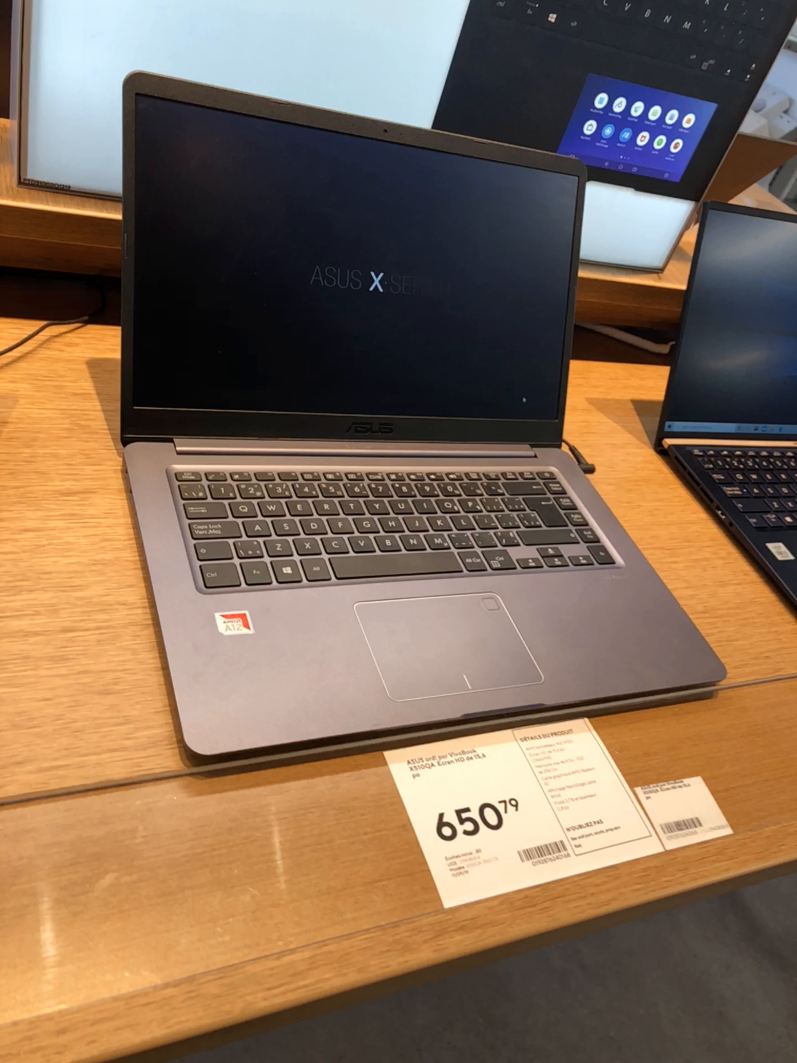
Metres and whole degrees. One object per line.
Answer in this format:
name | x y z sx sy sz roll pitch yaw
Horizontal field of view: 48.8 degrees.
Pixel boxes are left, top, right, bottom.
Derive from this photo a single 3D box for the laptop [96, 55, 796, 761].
laptop | 0.022 -0.100 0.562 0.353 0.177 0.391 -2 46 -27
